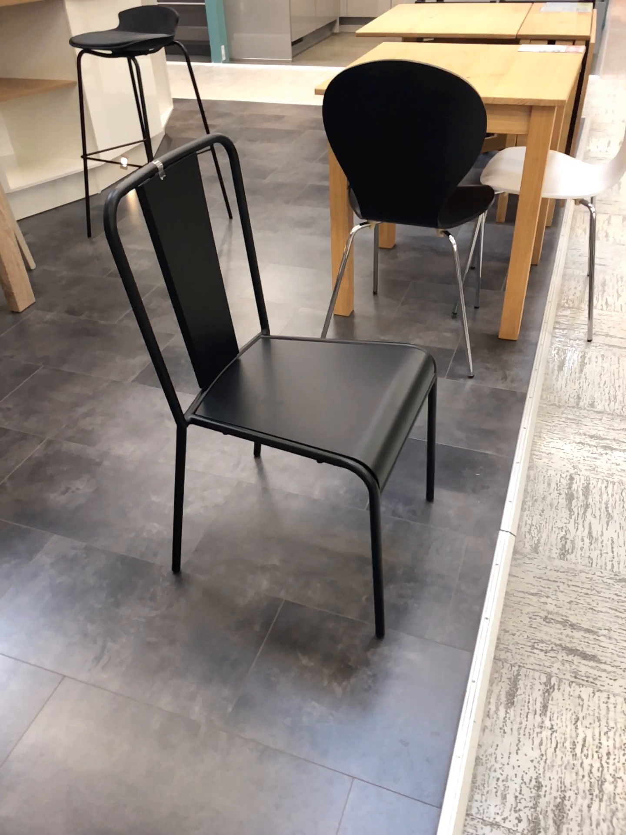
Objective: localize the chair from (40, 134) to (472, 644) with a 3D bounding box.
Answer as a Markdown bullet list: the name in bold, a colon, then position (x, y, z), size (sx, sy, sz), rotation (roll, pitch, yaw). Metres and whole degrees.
- **chair**: position (-0.051, -0.056, 1.349), size (0.570, 0.815, 0.443), rotation (10, 39, 17)
